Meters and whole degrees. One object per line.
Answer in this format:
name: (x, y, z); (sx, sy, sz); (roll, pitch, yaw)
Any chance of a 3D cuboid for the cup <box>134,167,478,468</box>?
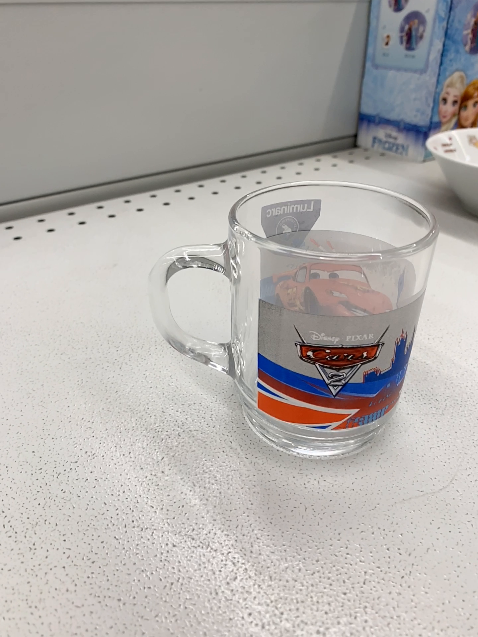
cup: (0.025, -0.004, 0.187); (0.101, 0.081, 0.072); (3, 33, 6)
